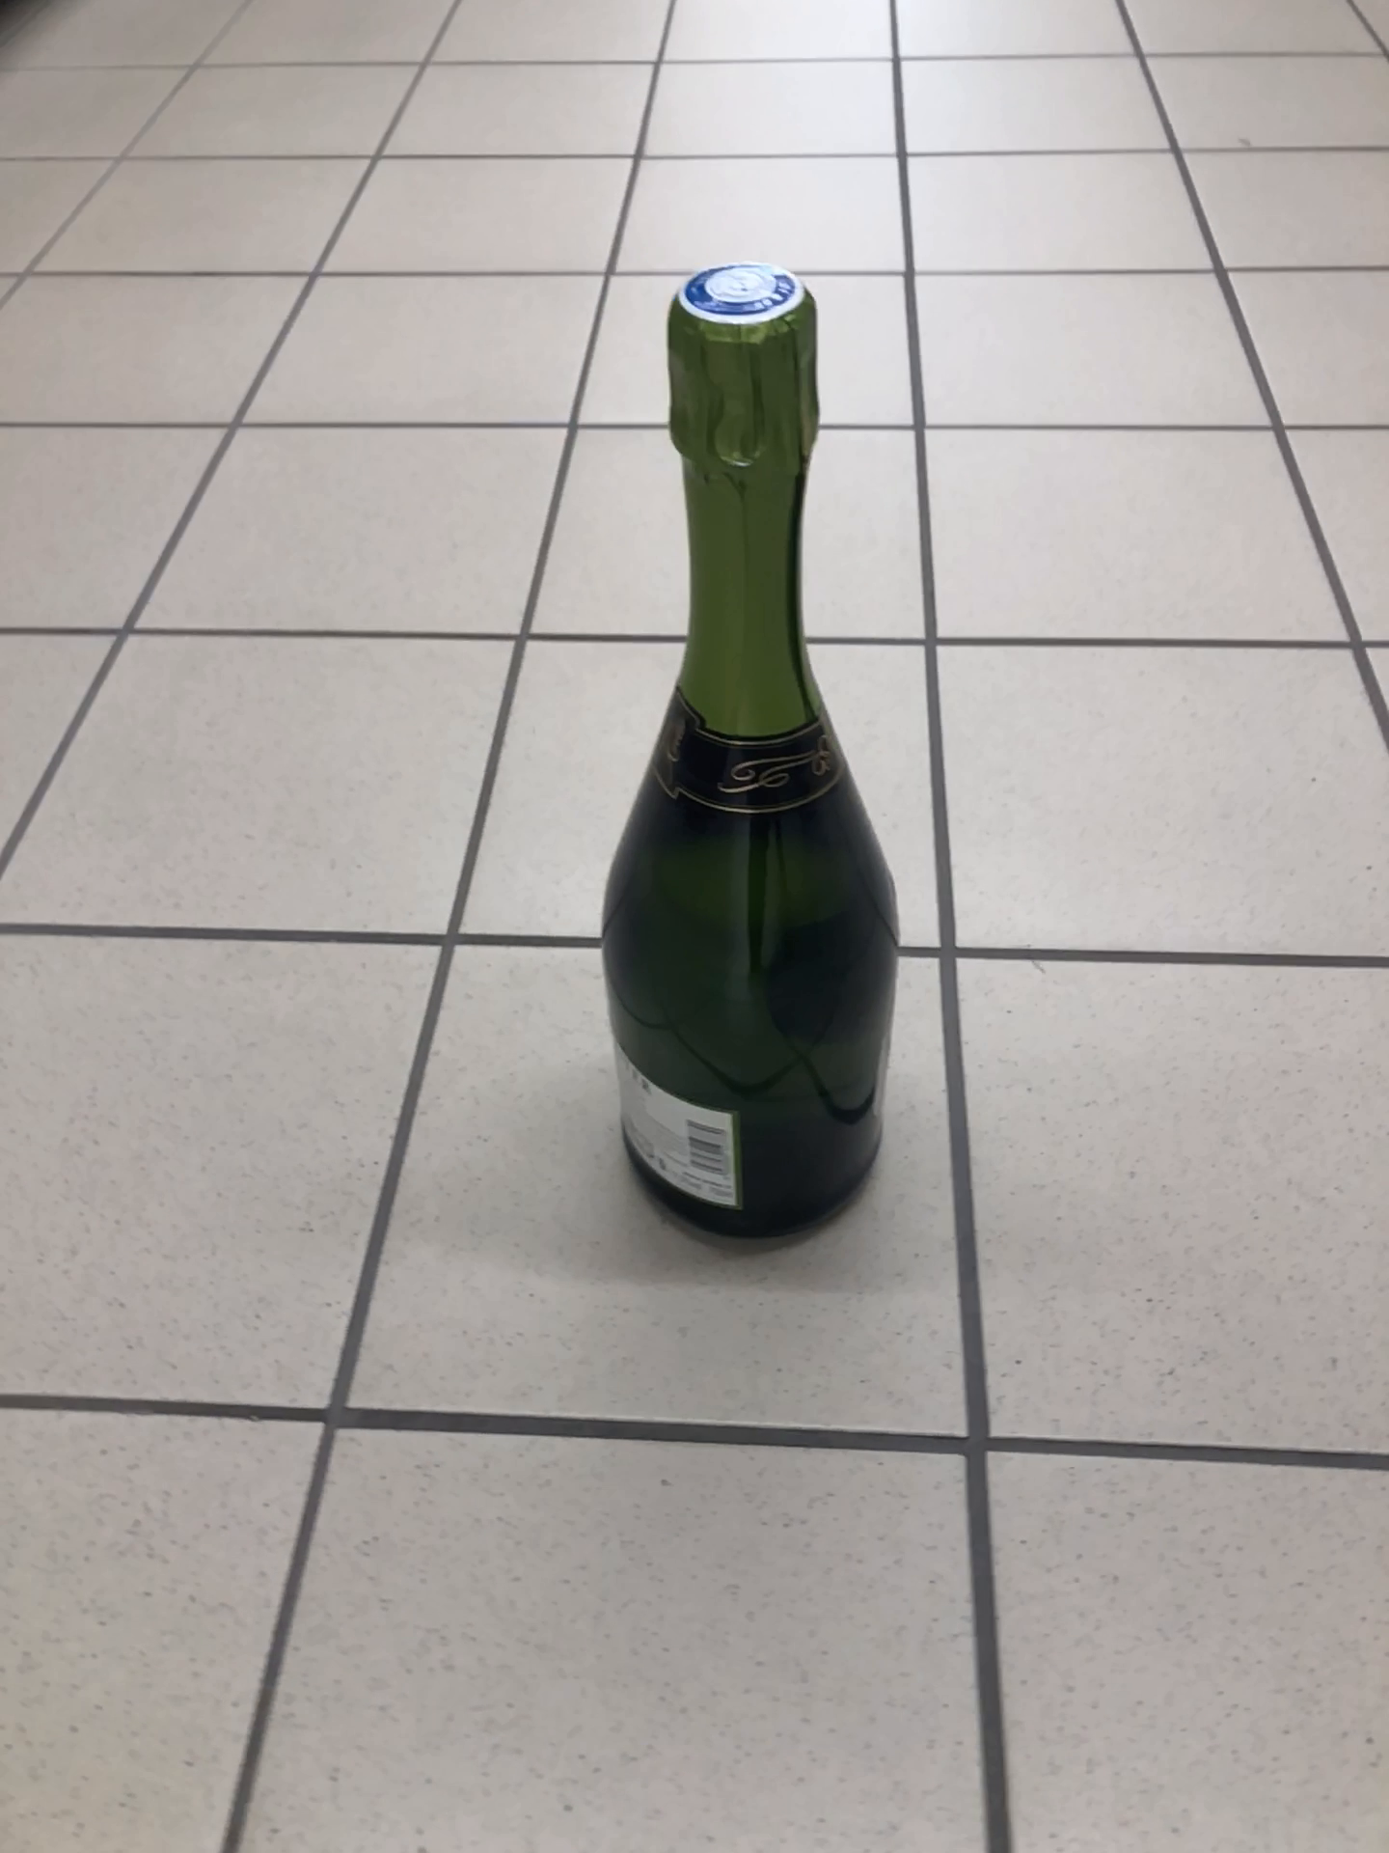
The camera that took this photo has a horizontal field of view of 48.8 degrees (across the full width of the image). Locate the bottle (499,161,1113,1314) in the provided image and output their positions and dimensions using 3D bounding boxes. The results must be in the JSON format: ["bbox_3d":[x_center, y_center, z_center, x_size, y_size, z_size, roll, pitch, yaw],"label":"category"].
[{"bbox_3d":[0.025,-0.030,0.434,0.090,0.308,0.100,-23,49,-19],"label":"bottle"}]
